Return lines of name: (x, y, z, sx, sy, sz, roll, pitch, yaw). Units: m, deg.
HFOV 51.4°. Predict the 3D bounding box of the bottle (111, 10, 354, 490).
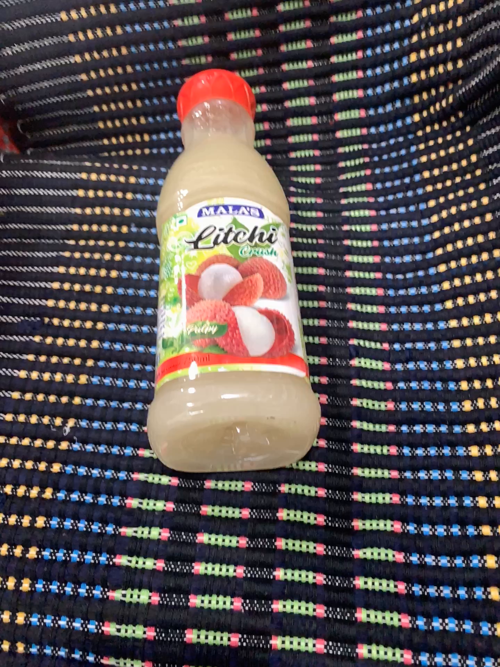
bottle: (-0.015, -0.062, 0.274, 0.080, 0.080, 0.261, -2, 57, -4)
